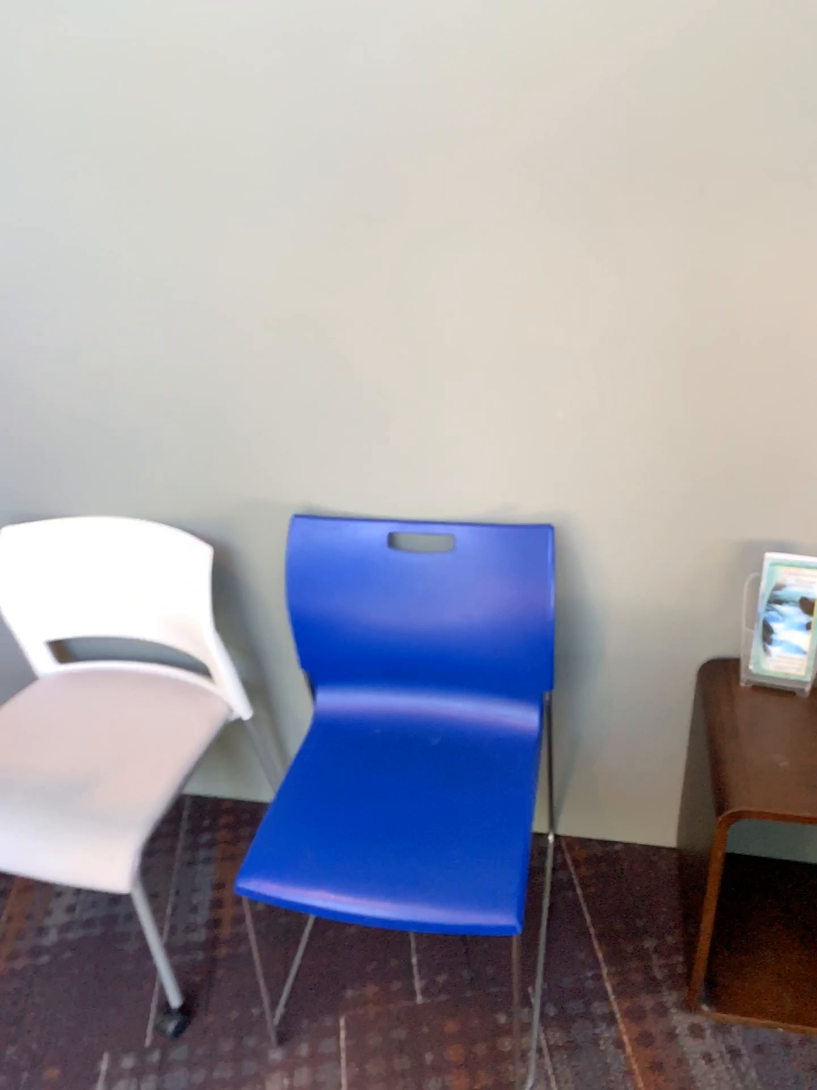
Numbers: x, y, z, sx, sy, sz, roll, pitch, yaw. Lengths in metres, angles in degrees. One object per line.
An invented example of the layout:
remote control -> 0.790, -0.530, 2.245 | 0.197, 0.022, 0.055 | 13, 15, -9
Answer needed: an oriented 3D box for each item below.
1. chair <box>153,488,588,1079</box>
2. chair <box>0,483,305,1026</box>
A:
chair -> 0.014, 0.386, 1.549 | 0.591, 0.796, 0.623 | 2, 25, 13
chair -> -0.554, 0.377, 1.558 | 0.590, 0.795, 0.563 | 3, 30, 3
